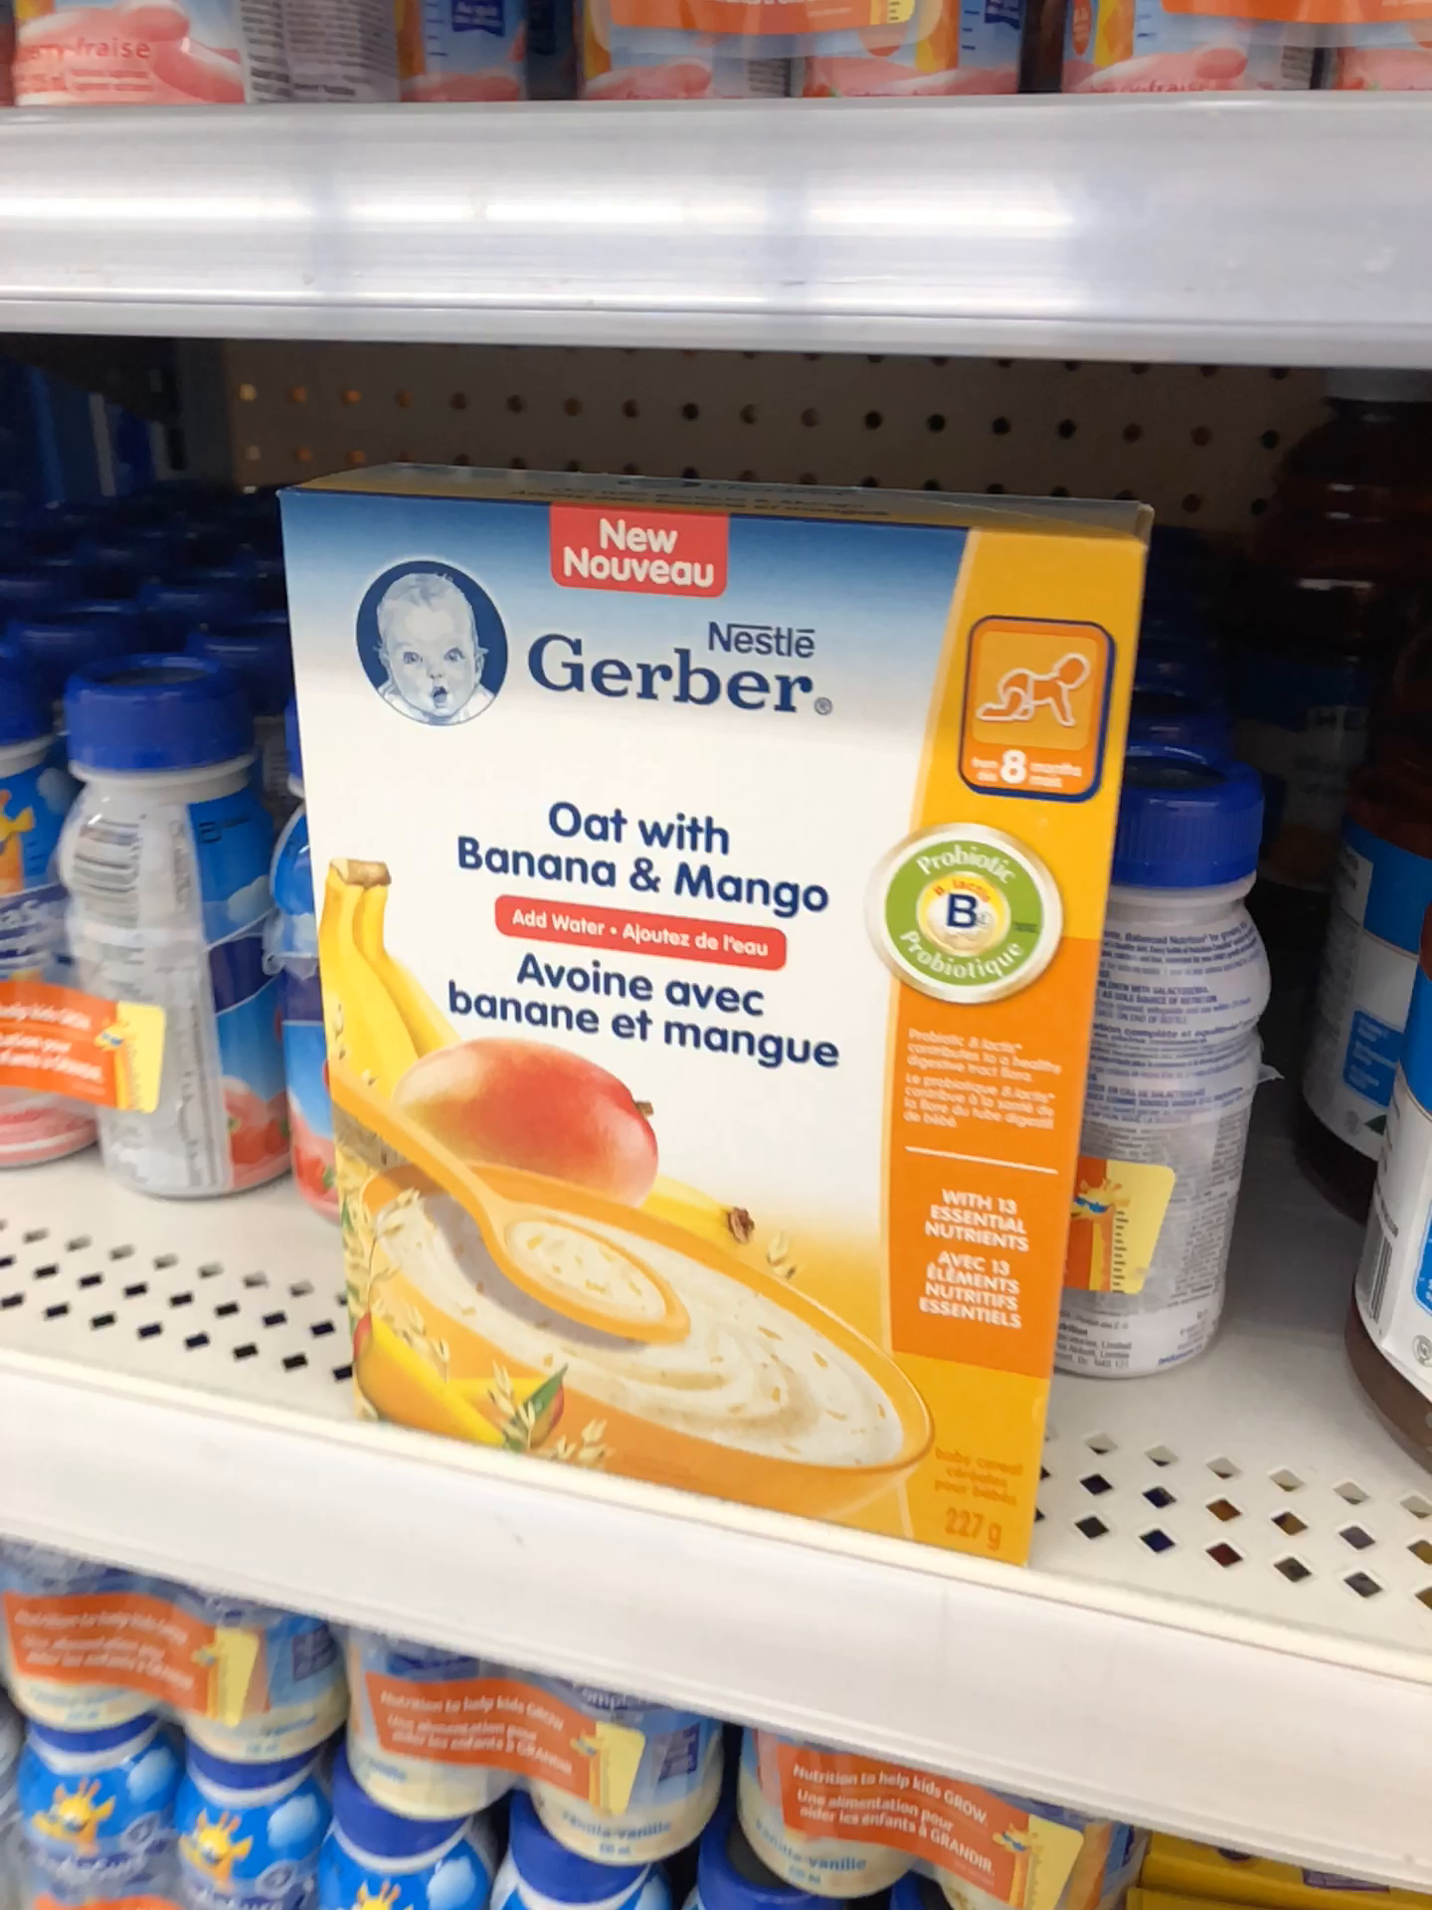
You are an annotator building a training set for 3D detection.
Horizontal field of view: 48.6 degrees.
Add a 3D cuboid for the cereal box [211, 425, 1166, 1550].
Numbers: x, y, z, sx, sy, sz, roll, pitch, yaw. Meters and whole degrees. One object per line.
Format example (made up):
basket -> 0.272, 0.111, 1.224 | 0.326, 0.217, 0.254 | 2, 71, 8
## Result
cereal box -> -0.007, 0.007, 0.295 | 0.150, 0.189, 0.040 | 8, 24, 14
